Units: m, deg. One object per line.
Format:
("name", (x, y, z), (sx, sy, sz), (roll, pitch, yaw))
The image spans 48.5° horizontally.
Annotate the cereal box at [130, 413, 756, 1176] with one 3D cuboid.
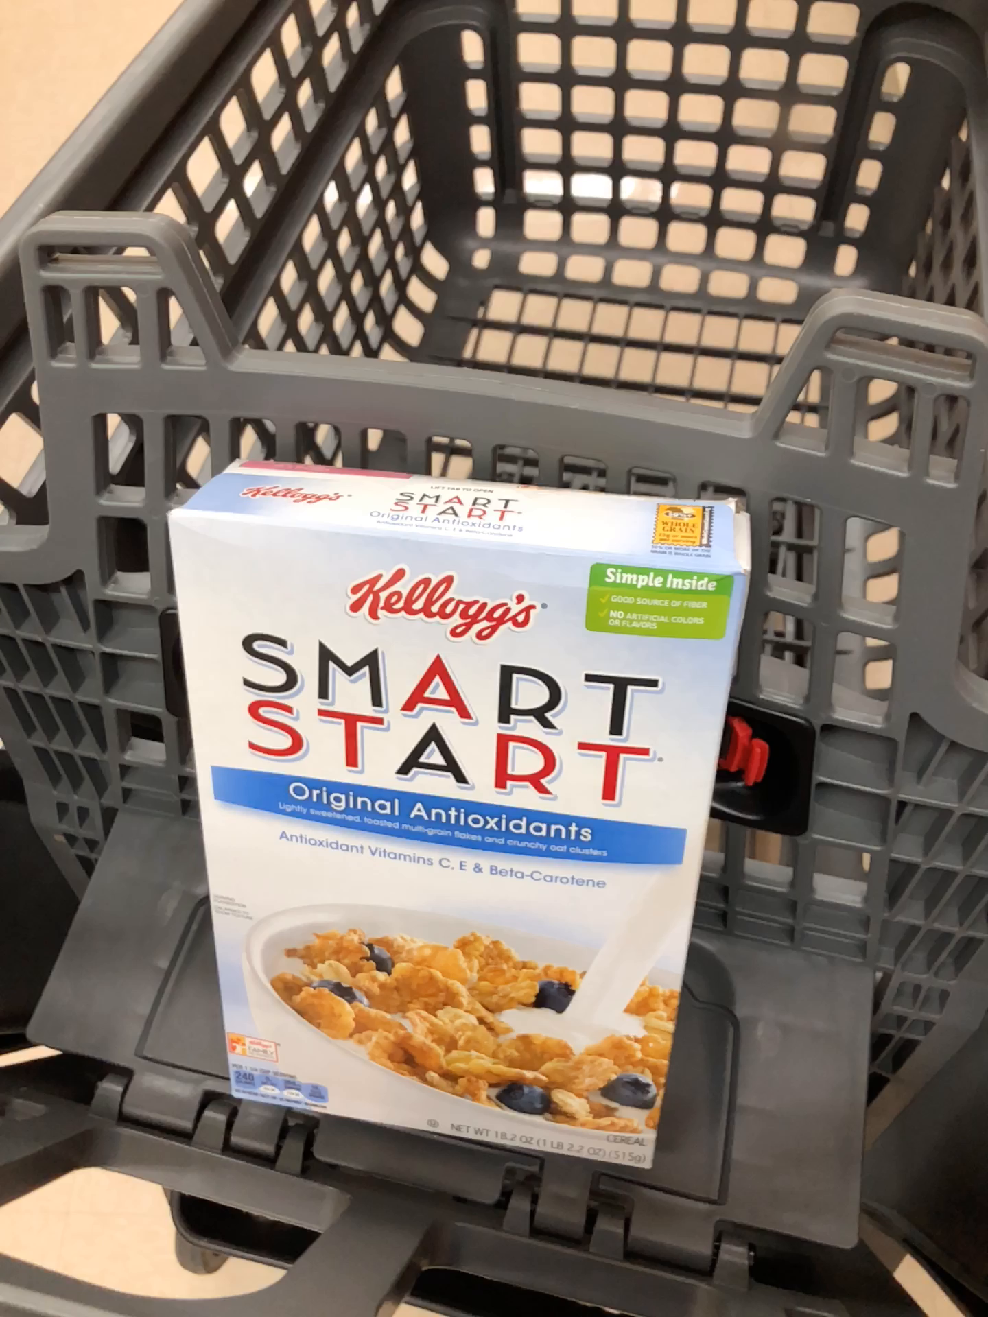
("cereal box", (-0.019, 0.066, 0.446), (0.200, 0.300, 0.070), (7, 30, 8))
